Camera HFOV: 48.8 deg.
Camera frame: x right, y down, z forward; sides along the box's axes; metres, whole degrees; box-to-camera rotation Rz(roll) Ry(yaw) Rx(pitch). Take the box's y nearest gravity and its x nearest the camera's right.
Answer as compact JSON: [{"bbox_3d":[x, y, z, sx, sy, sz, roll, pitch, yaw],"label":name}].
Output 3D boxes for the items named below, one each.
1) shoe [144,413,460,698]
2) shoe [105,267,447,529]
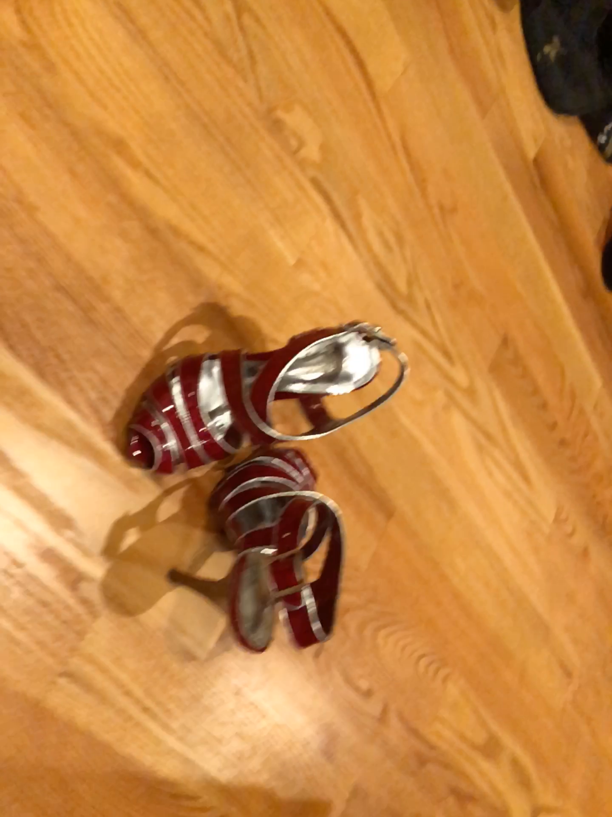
[{"bbox_3d":[0.003,0.099,0.531,0.194,0.141,0.091,-45,119,-36],"label":"shoe"},{"bbox_3d":[-0.017,-0.014,0.517,0.199,0.151,0.091,-41,116,-38],"label":"shoe"}]
